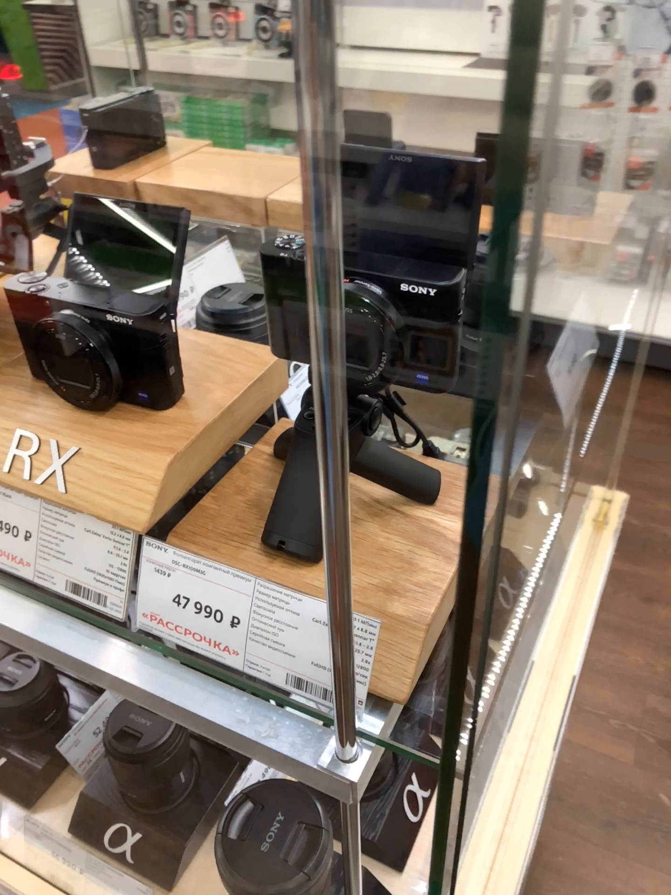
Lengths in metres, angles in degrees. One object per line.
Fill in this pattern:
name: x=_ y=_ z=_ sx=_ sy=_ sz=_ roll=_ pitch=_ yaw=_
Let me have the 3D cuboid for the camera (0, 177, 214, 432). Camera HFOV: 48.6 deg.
camera: x=-0.133 y=-0.080 z=0.403 sx=0.102 sy=0.102 sz=0.065 roll=15 pitch=40 yaw=22

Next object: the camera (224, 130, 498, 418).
camera: x=0.013 y=-0.083 z=0.347 sx=0.102 sy=0.102 sz=0.057 roll=15 pitch=40 yaw=22
